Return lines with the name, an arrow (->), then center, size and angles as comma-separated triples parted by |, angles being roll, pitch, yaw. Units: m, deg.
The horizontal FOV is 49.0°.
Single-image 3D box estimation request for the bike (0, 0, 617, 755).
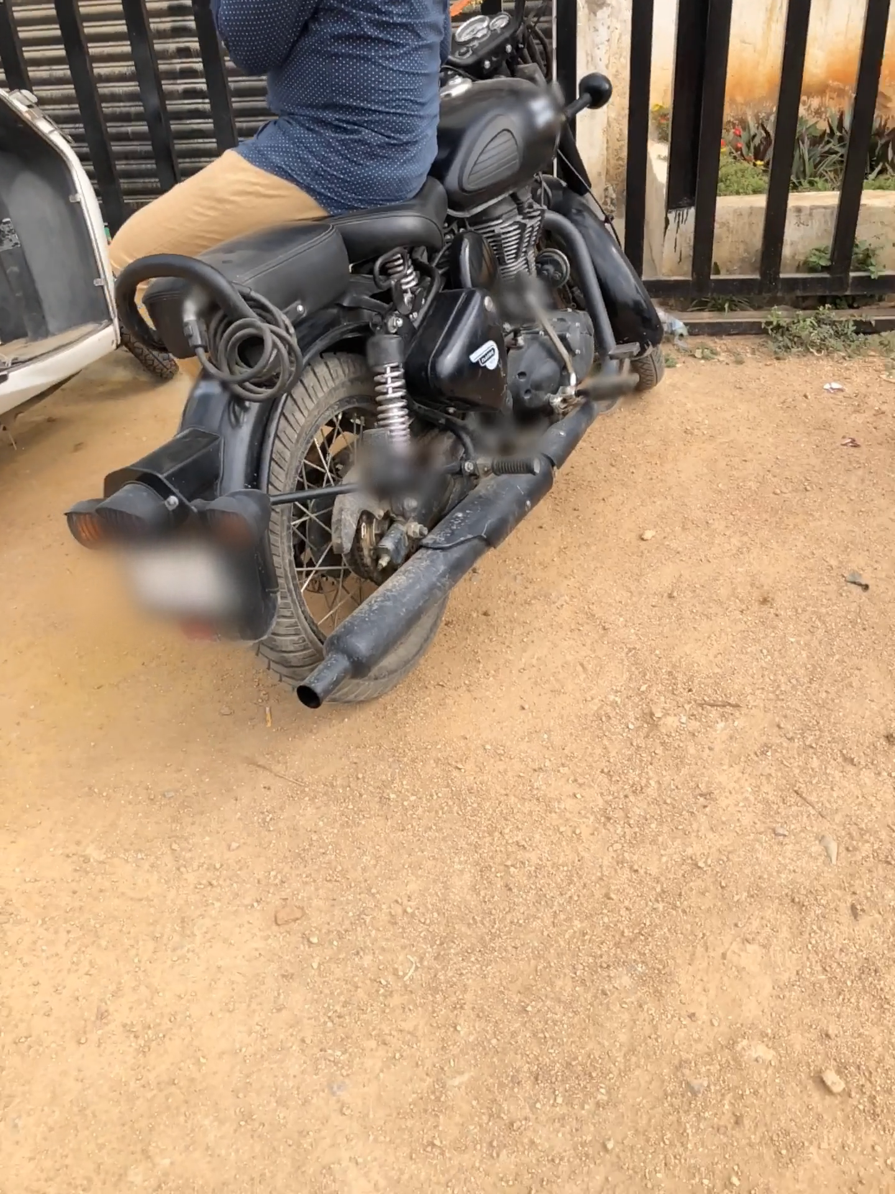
bike -> -0.132, -0.903, 2.095 | 0.722, 1.170, 1.818 | 6, 40, 16
